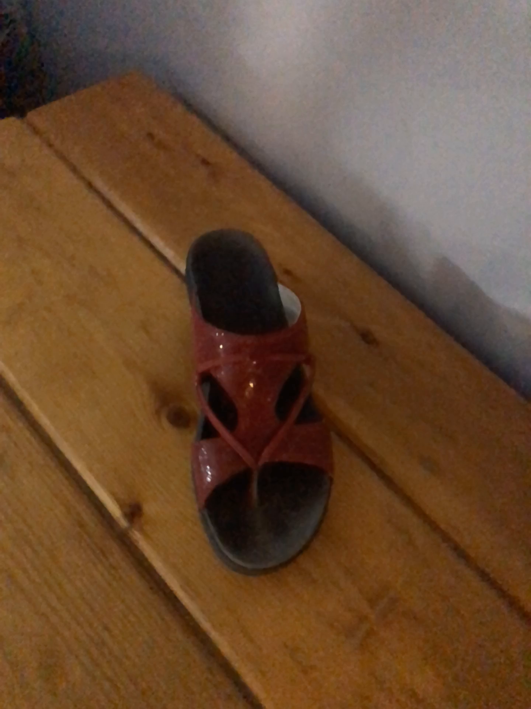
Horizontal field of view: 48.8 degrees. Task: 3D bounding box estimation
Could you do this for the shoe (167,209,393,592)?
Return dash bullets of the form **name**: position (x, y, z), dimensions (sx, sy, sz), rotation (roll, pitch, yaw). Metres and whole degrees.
- **shoe**: position (-0.006, 0.017, 0.403), dimensions (0.100, 0.070, 0.250), rotation (-4, 59, -12)
